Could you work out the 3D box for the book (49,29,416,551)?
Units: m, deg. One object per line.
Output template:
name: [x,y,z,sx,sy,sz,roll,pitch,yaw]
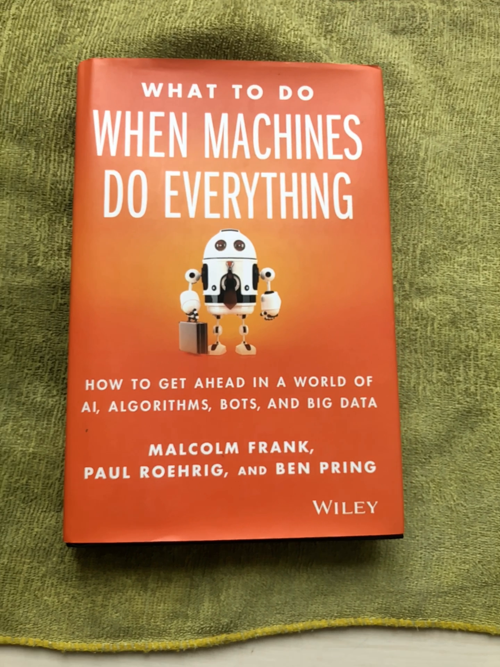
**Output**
book: [-0.009,-0.025,0.279,0.160,0.040,0.240,0,83,-5]
